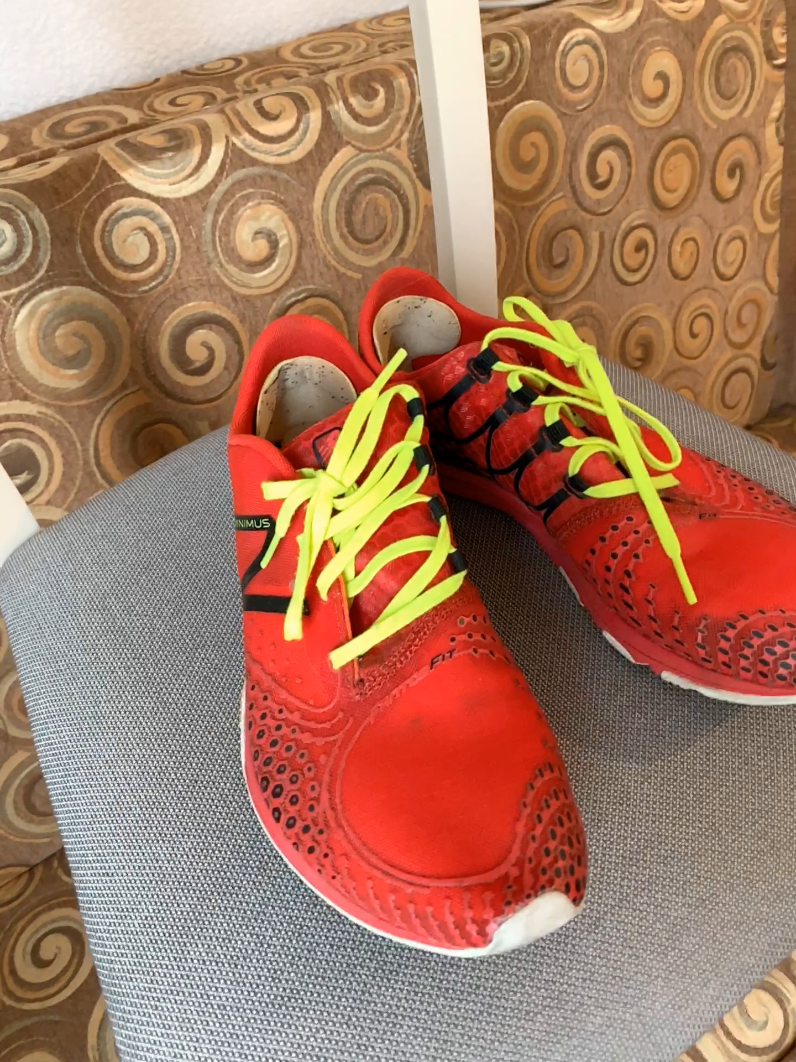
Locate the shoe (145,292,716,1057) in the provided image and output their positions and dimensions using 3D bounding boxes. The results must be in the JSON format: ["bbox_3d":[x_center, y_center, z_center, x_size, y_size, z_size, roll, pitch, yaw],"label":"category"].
[{"bbox_3d":[-0.011,0.029,0.316,0.110,0.090,0.261,-16,52,-11],"label":"shoe"}]

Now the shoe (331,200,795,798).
[{"bbox_3d":[0.097,-0.033,0.356,0.110,0.090,0.261,-34,57,-23],"label":"shoe"}]
